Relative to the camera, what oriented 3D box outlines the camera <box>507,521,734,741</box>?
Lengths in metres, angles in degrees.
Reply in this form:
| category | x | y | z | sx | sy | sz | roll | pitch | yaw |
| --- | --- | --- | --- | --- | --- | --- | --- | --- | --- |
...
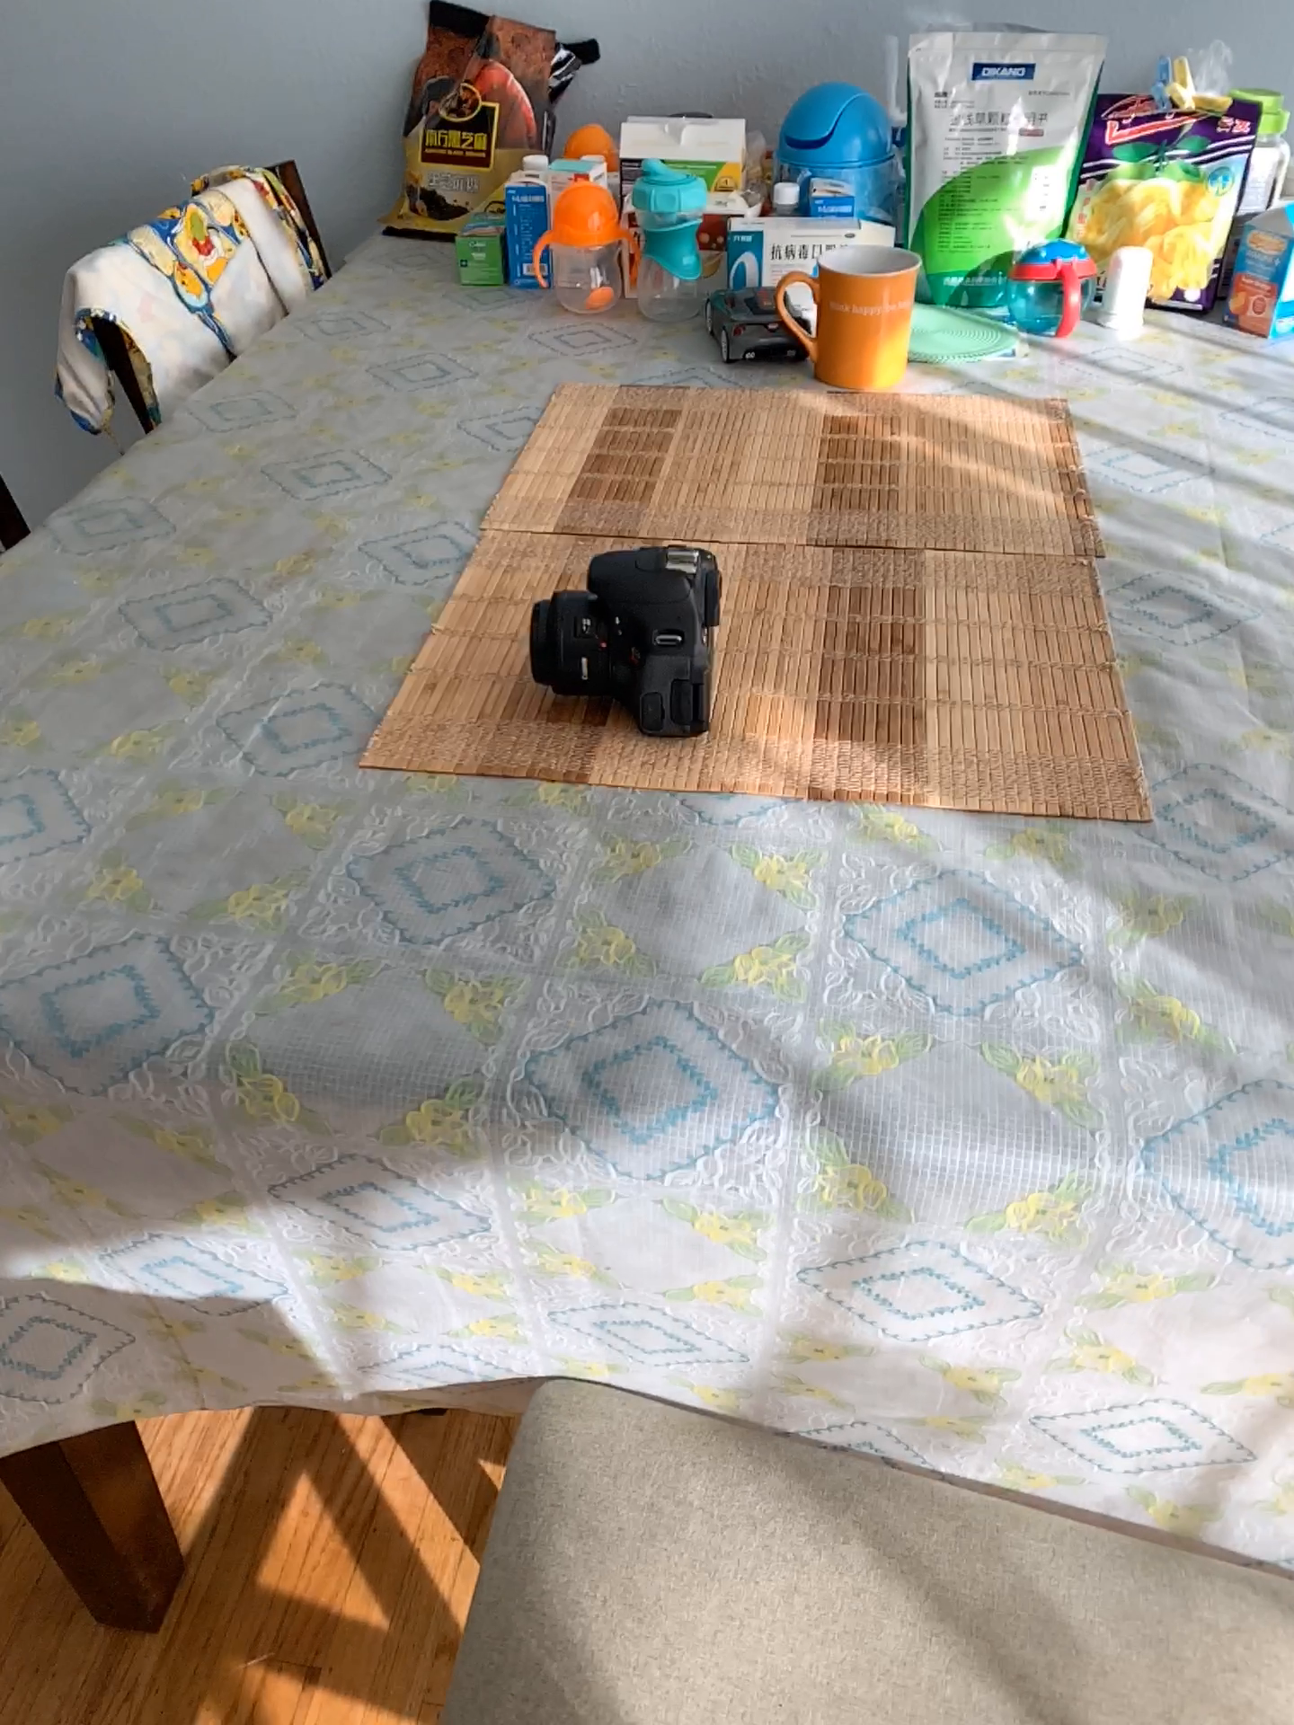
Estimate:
| category | x | y | z | sx | sy | sz | roll | pitch | yaw |
| --- | --- | --- | --- | --- | --- | --- | --- | --- | --- |
| camera | -0.012 | -0.145 | 0.818 | 0.125 | 0.092 | 0.100 | 3 | 40 | 5 |
